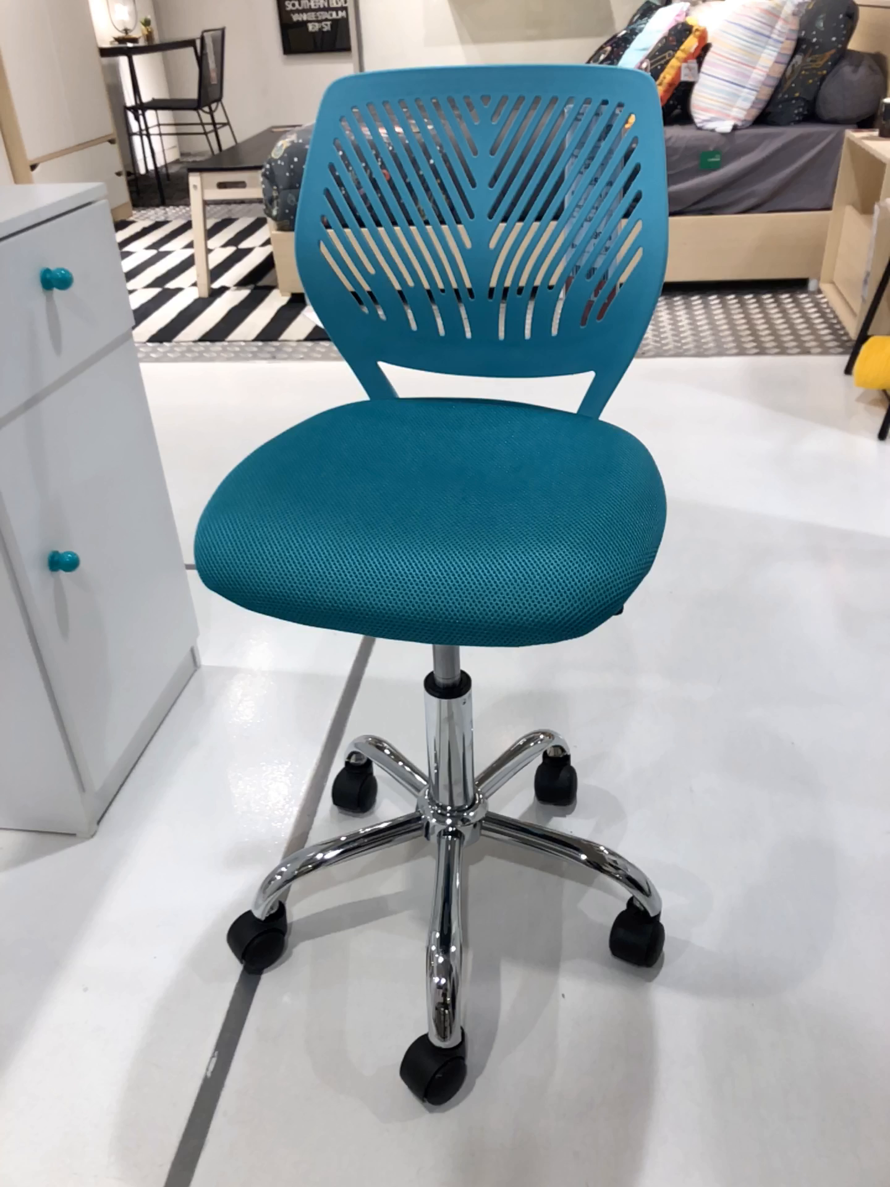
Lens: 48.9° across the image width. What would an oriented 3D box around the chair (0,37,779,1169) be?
[{"bbox_3d":[0.002,-0.022,0.895,0.480,0.804,0.534,6,32,15],"label":"chair"}]
